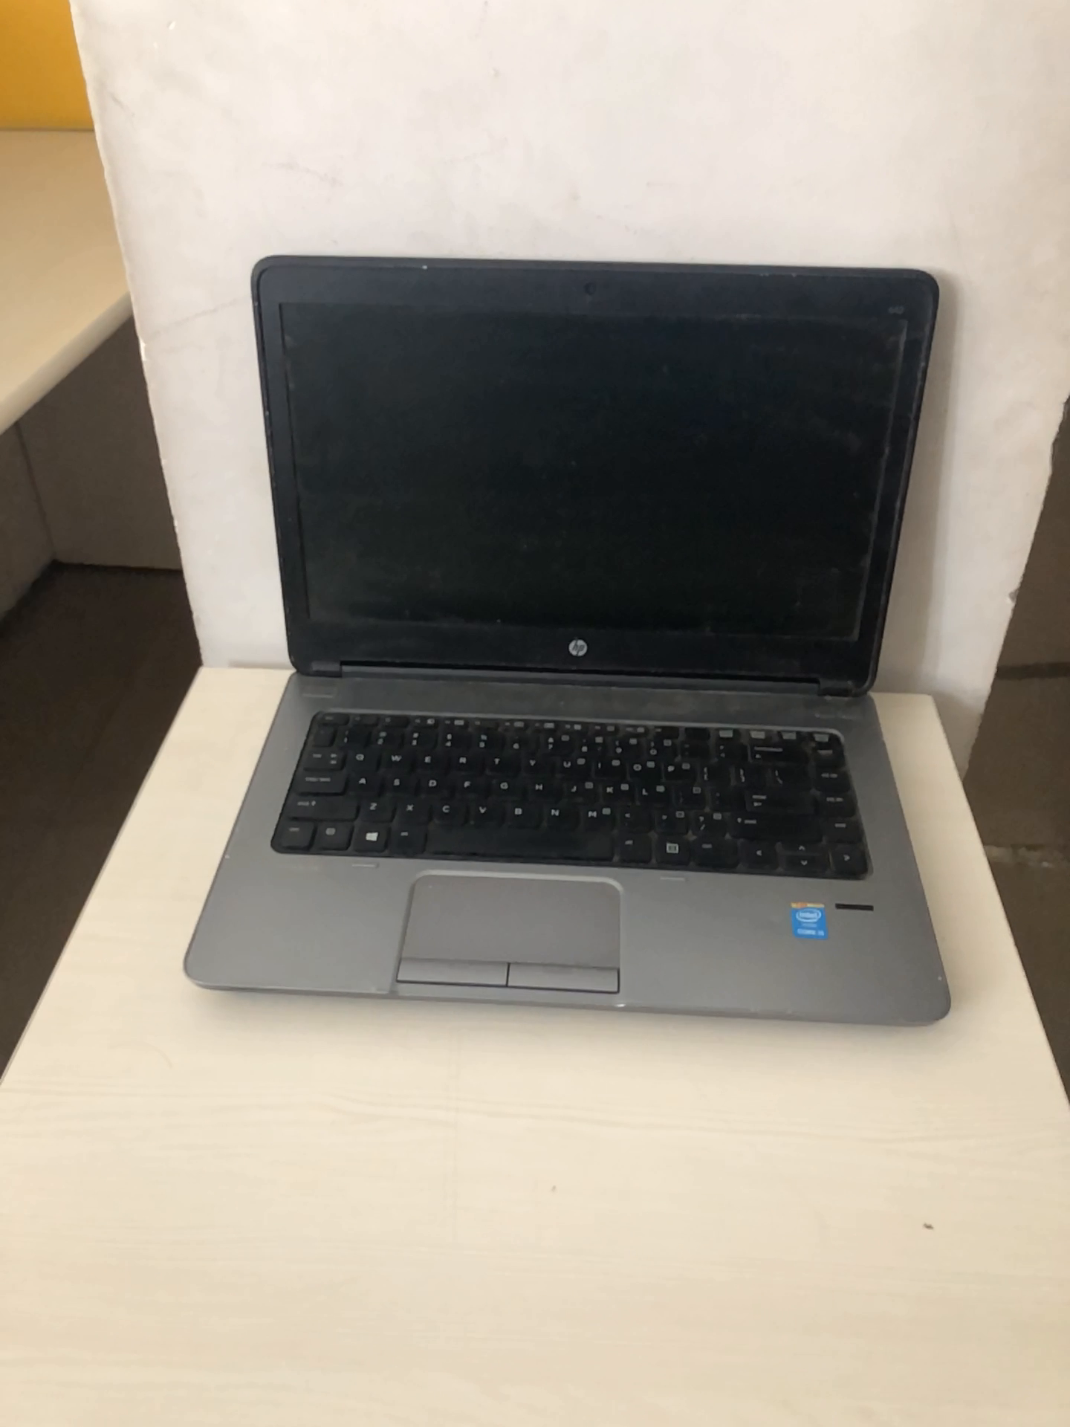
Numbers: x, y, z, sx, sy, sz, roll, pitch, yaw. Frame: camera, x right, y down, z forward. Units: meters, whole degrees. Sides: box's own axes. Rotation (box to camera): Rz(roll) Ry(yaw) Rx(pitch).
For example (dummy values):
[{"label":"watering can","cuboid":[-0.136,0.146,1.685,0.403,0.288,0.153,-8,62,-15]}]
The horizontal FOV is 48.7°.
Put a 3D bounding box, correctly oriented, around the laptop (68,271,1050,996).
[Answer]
[{"label":"laptop","cuboid":[0.016,-0.046,0.523,0.304,0.209,0.238,3,38,3]}]
